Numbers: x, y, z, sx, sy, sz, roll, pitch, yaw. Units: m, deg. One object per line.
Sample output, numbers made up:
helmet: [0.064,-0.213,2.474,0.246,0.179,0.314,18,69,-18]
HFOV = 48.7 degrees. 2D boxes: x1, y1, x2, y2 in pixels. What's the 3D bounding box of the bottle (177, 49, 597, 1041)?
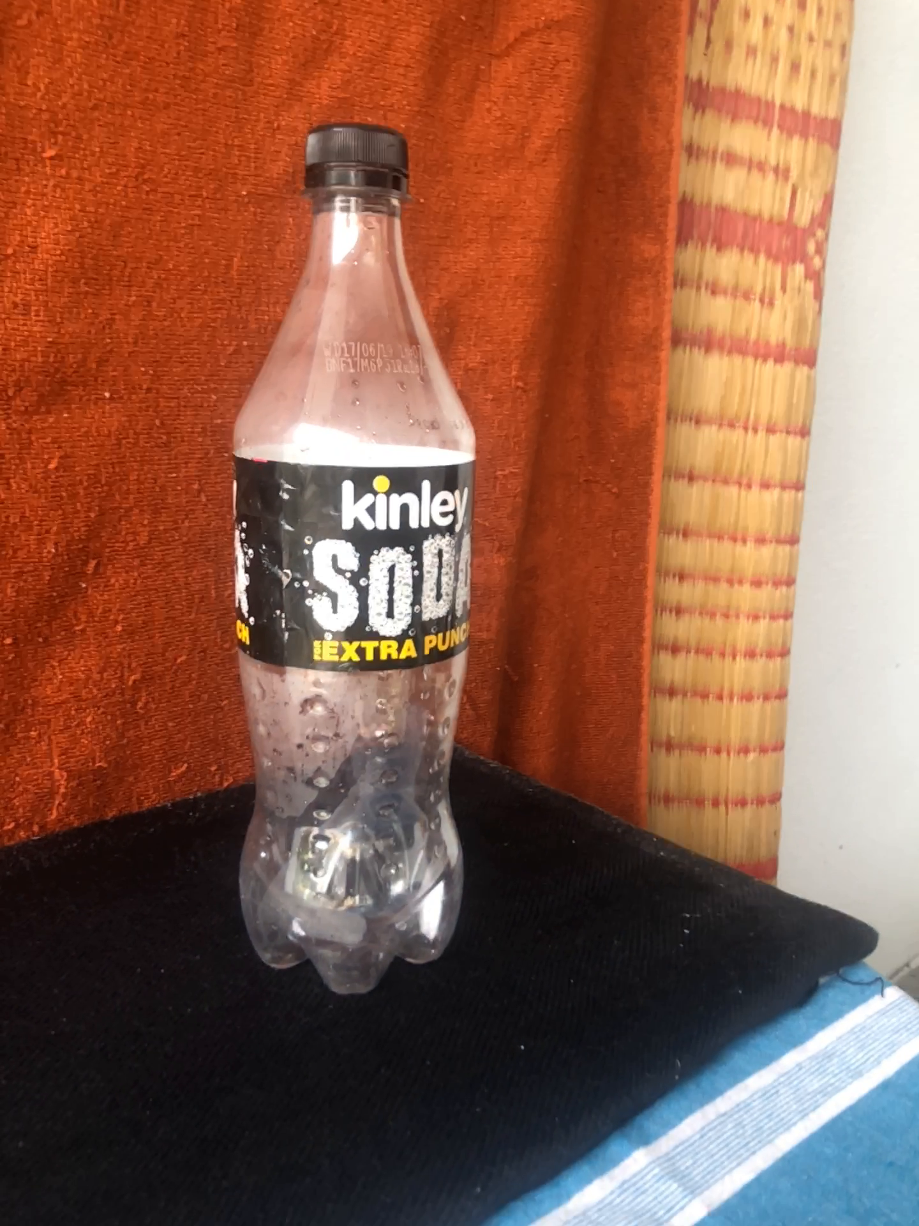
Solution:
bottle: [-0.029,-0.015,0.315,0.090,0.259,0.070,-6,17,-38]
